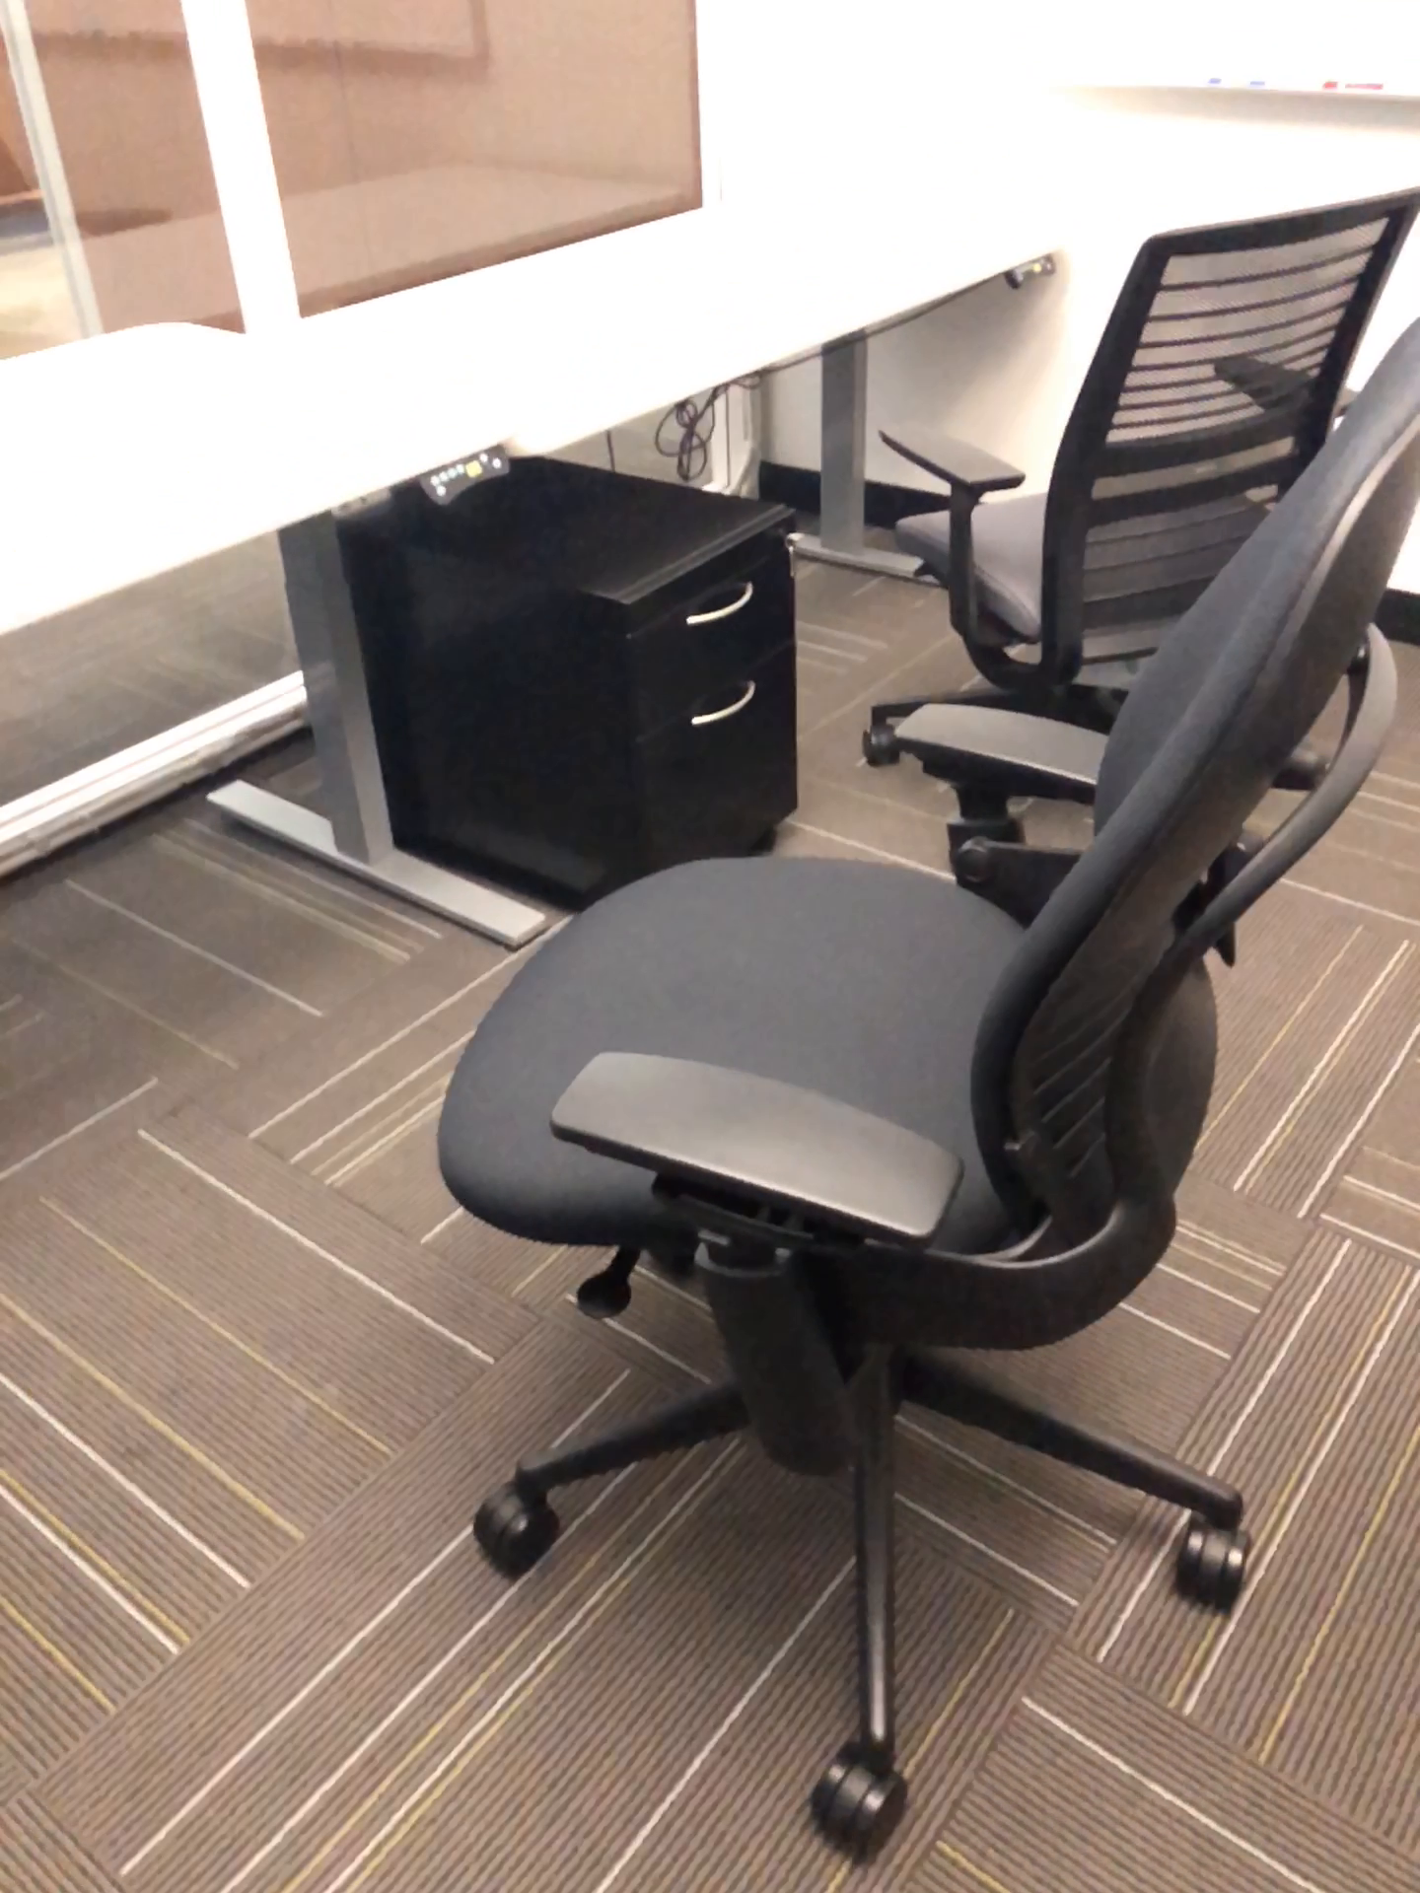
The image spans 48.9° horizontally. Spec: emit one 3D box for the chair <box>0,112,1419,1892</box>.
[{"bbox_3d":[0.093,0.007,1.172,0.831,1.035,0.732,13,37,21],"label":"chair"}]
